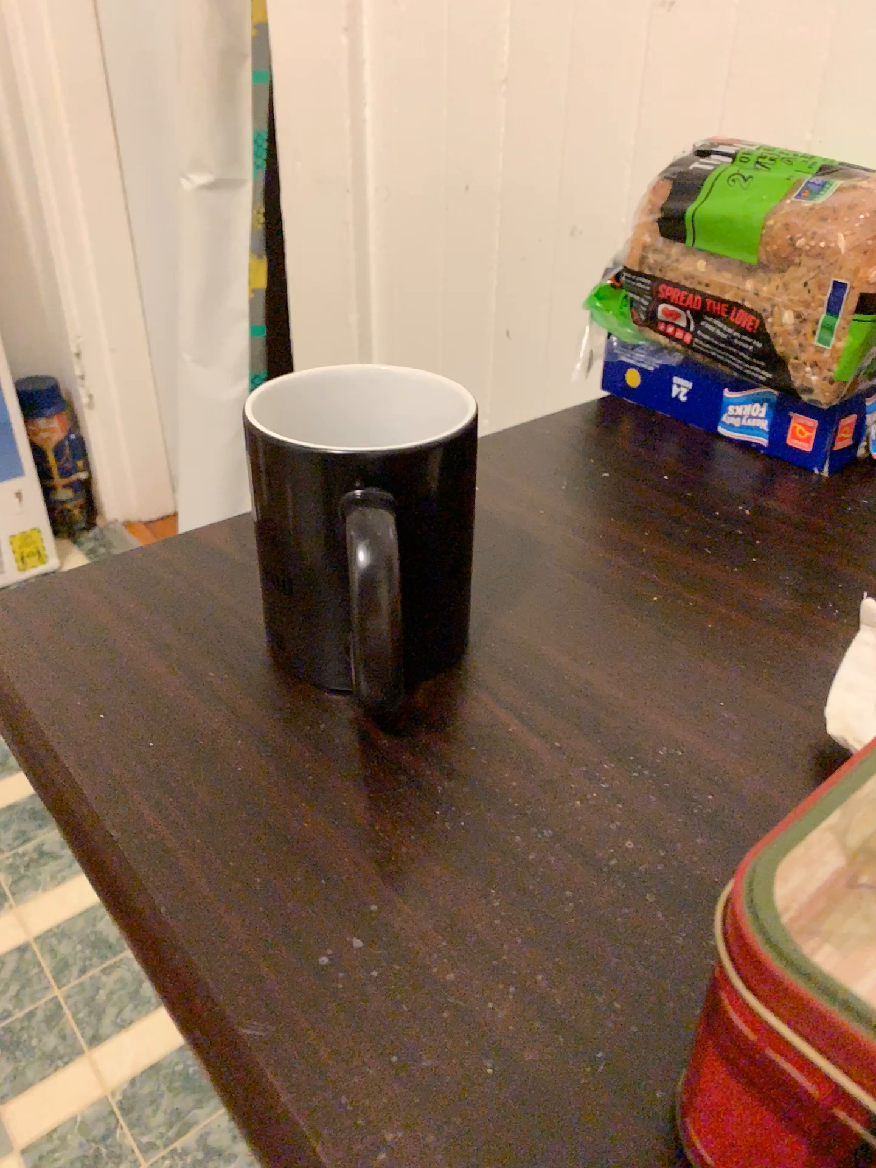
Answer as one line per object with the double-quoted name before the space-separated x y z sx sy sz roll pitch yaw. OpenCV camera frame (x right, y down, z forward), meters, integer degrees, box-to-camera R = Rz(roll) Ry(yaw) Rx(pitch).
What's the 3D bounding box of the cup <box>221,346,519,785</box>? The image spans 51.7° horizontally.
"cup" -0.026 -0.014 0.324 0.080 0.099 0.131 -3 33 -6
